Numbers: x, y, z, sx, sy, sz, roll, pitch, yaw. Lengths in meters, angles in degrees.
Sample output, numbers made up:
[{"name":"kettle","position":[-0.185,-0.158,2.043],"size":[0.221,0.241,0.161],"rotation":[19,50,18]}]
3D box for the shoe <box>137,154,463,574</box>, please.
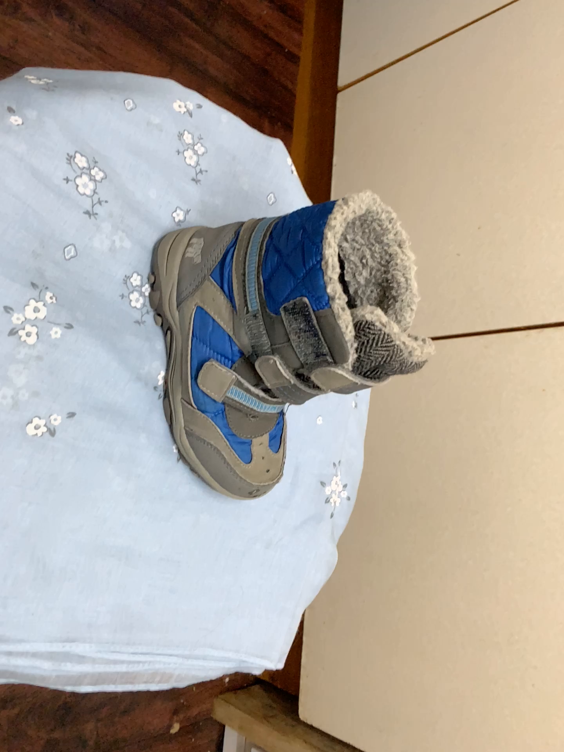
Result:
[{"name":"shoe","position":[0.006,-0.006,0.360],"size":[0.091,0.159,0.200],"rotation":[-11,95,-45]}]
